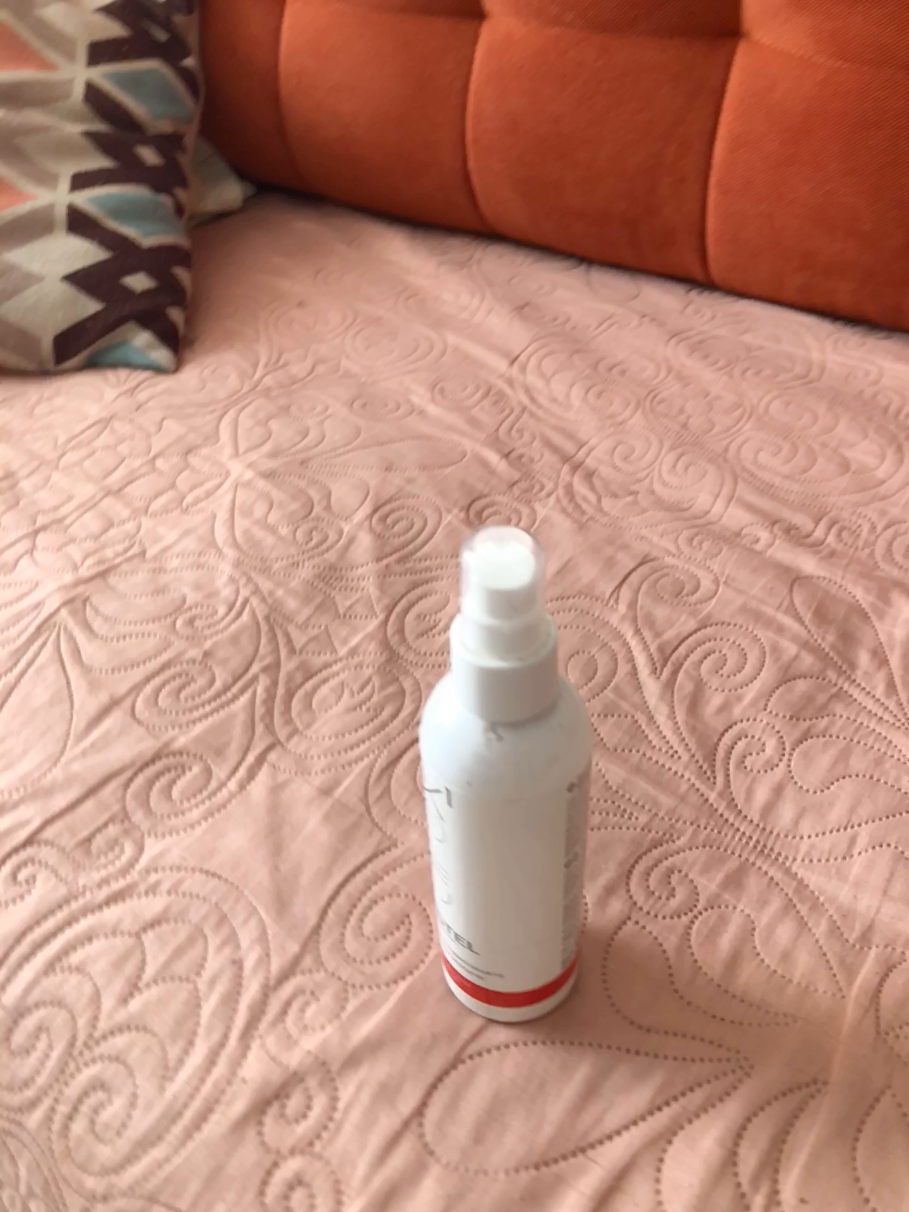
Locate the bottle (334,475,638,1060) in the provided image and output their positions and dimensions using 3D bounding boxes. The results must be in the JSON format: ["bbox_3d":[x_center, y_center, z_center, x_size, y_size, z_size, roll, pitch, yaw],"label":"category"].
[{"bbox_3d":[0.011,0.054,0.284,0.050,0.169,0.050,-2,40,2],"label":"bottle"}]
